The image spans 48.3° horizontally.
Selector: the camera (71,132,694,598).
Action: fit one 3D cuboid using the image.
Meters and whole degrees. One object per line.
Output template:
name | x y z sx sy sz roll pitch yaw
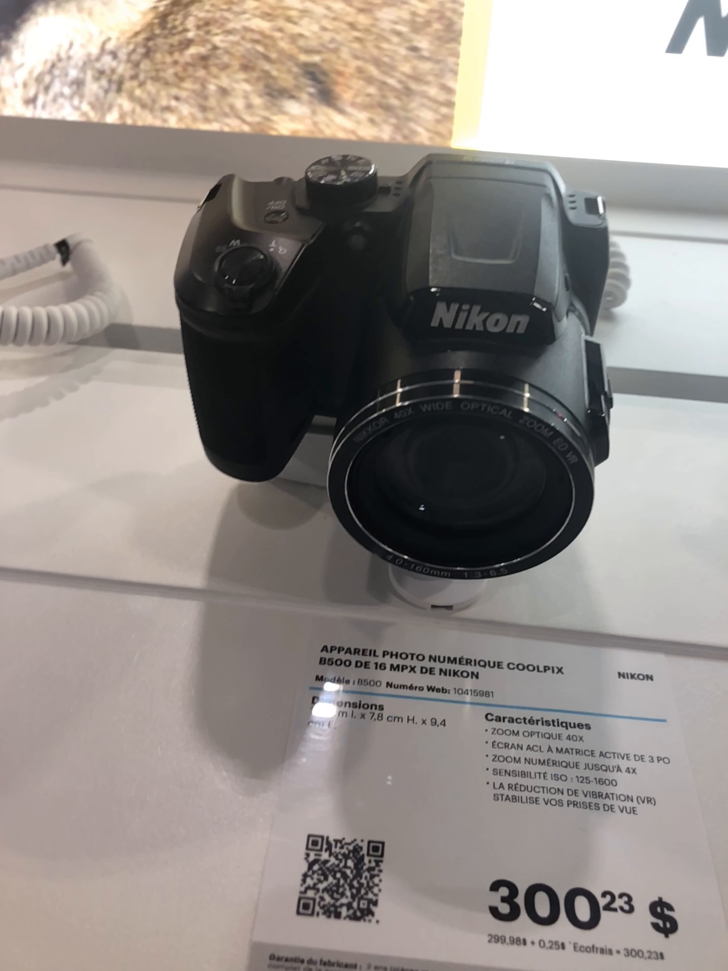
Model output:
camera | 0.006 -0.033 0.198 0.111 0.069 0.085 5 41 4
